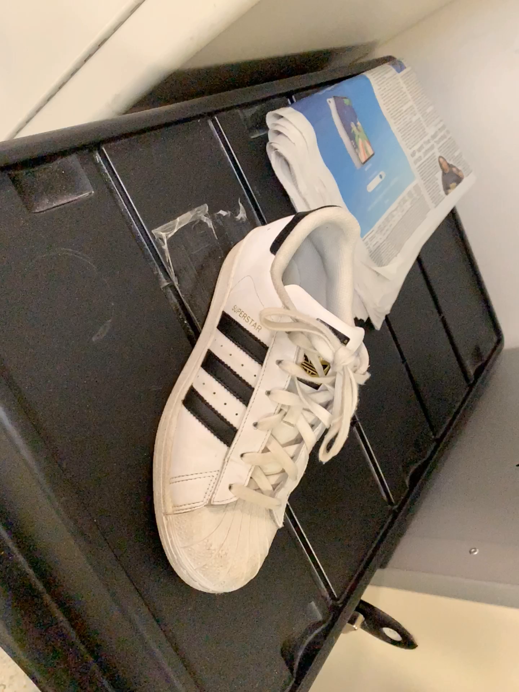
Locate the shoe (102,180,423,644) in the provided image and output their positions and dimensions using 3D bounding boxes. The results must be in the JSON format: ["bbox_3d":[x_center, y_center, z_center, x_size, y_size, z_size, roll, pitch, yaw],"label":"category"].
[{"bbox_3d":[0.014,0.035,0.339,0.104,0.092,0.243,34,65,-36],"label":"shoe"}]
